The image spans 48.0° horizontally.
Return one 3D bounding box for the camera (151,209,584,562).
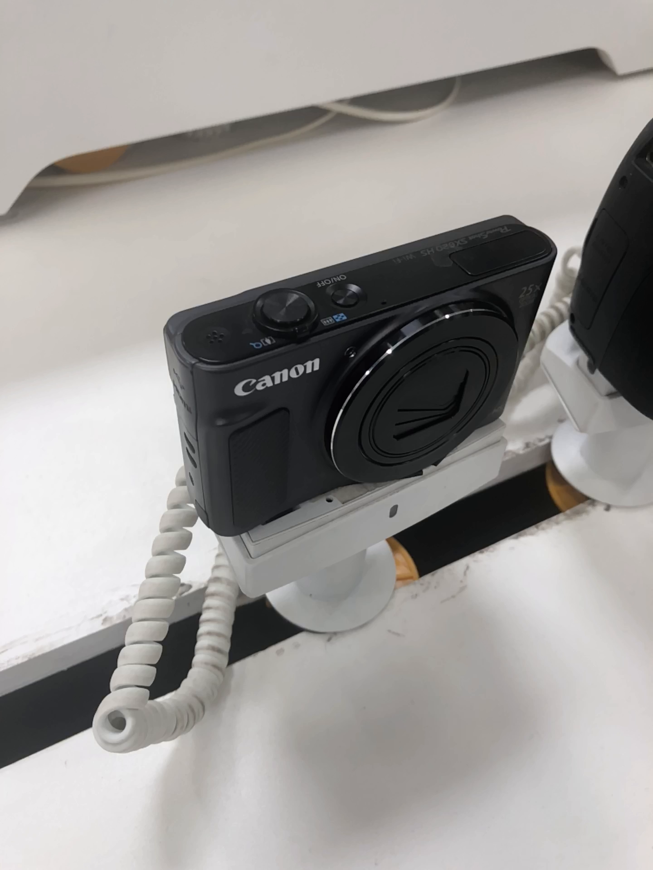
[{"bbox_3d":[0.010,-0.012,0.178,0.093,0.057,0.025,-22,57,-21],"label":"camera"}]
